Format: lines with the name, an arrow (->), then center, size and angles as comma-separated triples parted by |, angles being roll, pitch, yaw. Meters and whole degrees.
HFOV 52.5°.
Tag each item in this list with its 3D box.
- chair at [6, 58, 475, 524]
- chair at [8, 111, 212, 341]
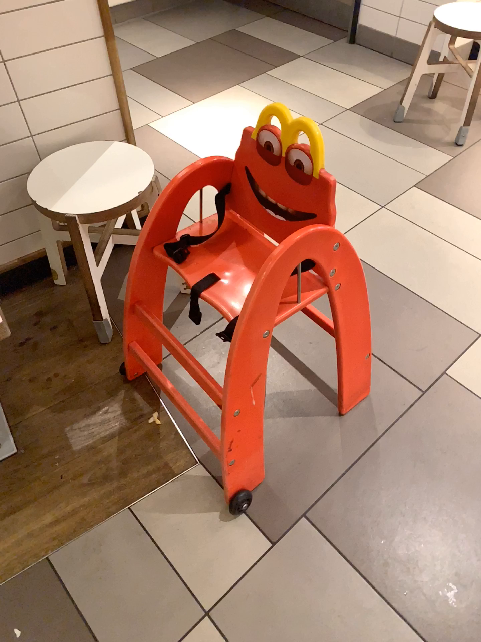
chair -> -0.003, -0.076, 1.101 | 0.582, 0.654, 0.583 | -35, 57, -25
chair -> -0.343, -0.272, 1.413 | 0.371, 0.446, 0.322 | -35, 57, -25
